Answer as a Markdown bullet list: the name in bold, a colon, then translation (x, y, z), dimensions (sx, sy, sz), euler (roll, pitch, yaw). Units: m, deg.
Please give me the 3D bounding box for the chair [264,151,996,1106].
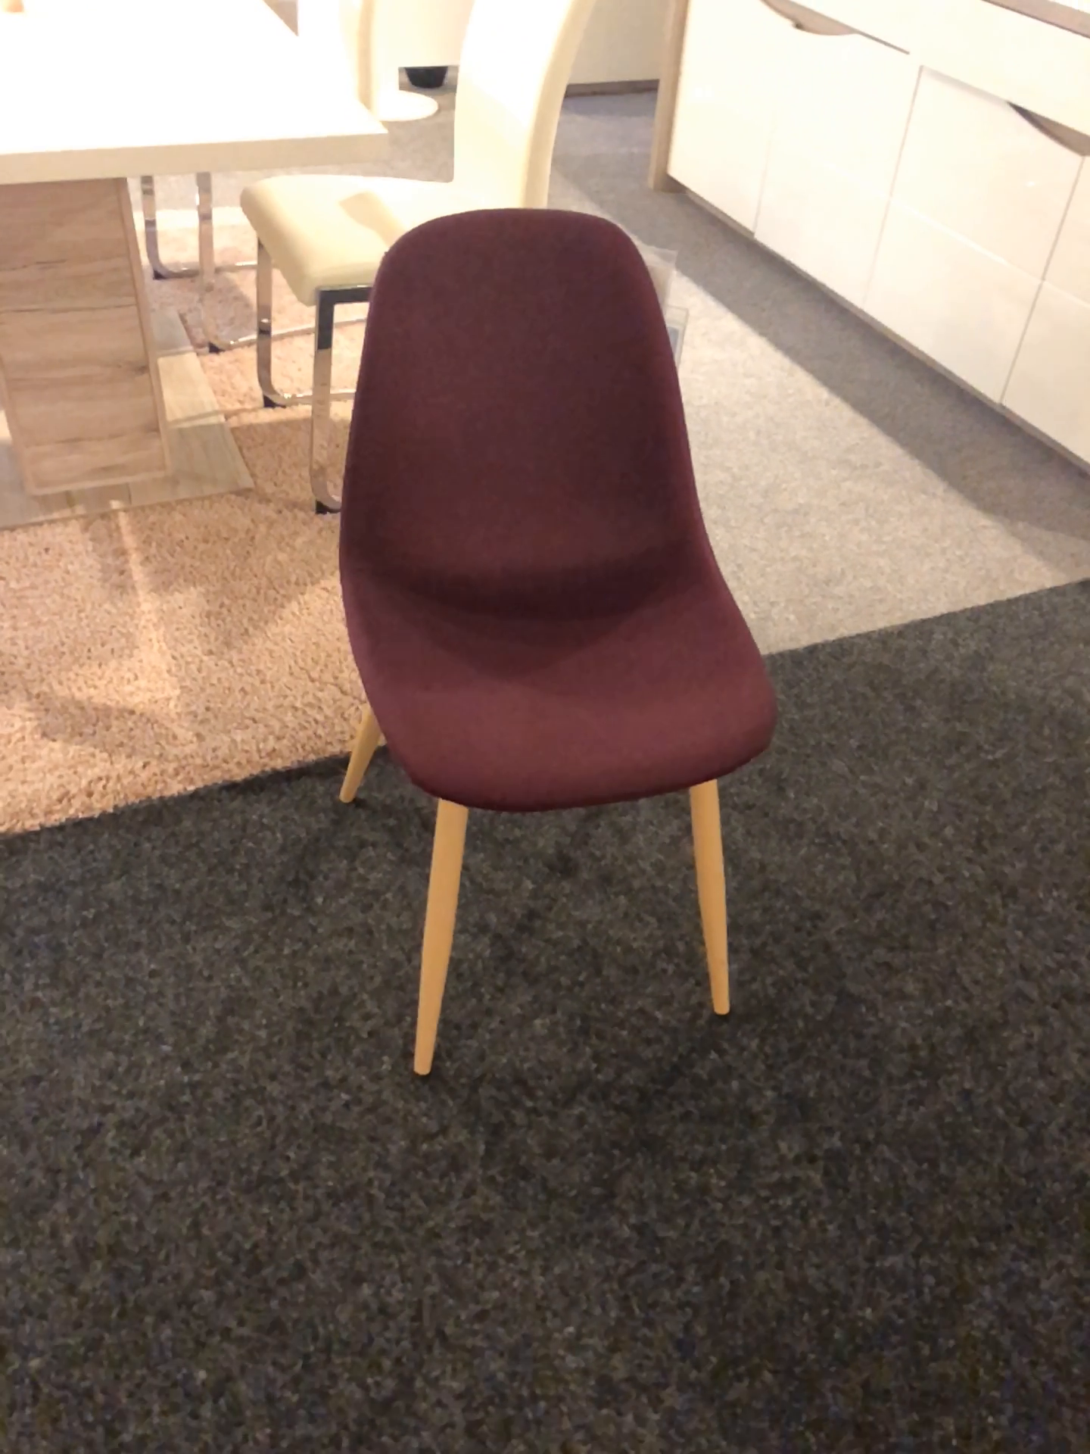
- **chair**: translation (0.004, -0.109, 1.292), dimensions (0.471, 0.795, 0.572), euler (-8, 43, -15)
